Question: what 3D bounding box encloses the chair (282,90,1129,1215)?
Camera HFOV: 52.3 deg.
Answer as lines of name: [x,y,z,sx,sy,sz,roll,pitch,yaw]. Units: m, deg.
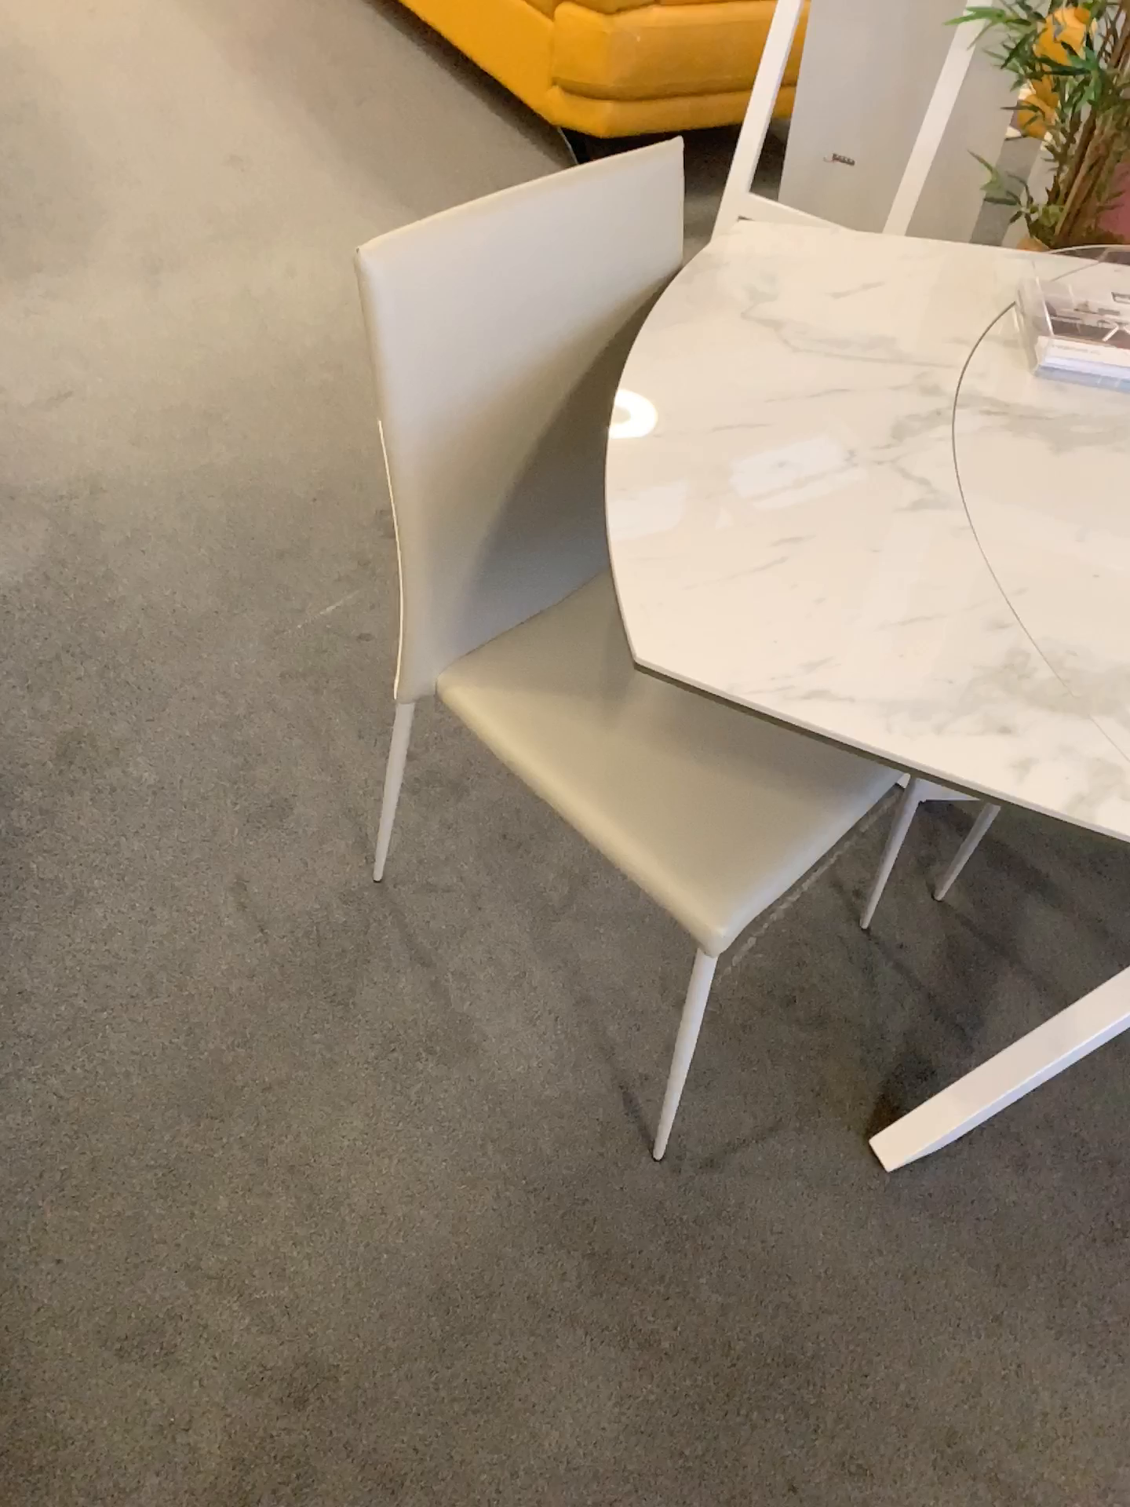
chair: [0.145,-0.076,1.172,0.583,0.823,0.534,37,55,22]
